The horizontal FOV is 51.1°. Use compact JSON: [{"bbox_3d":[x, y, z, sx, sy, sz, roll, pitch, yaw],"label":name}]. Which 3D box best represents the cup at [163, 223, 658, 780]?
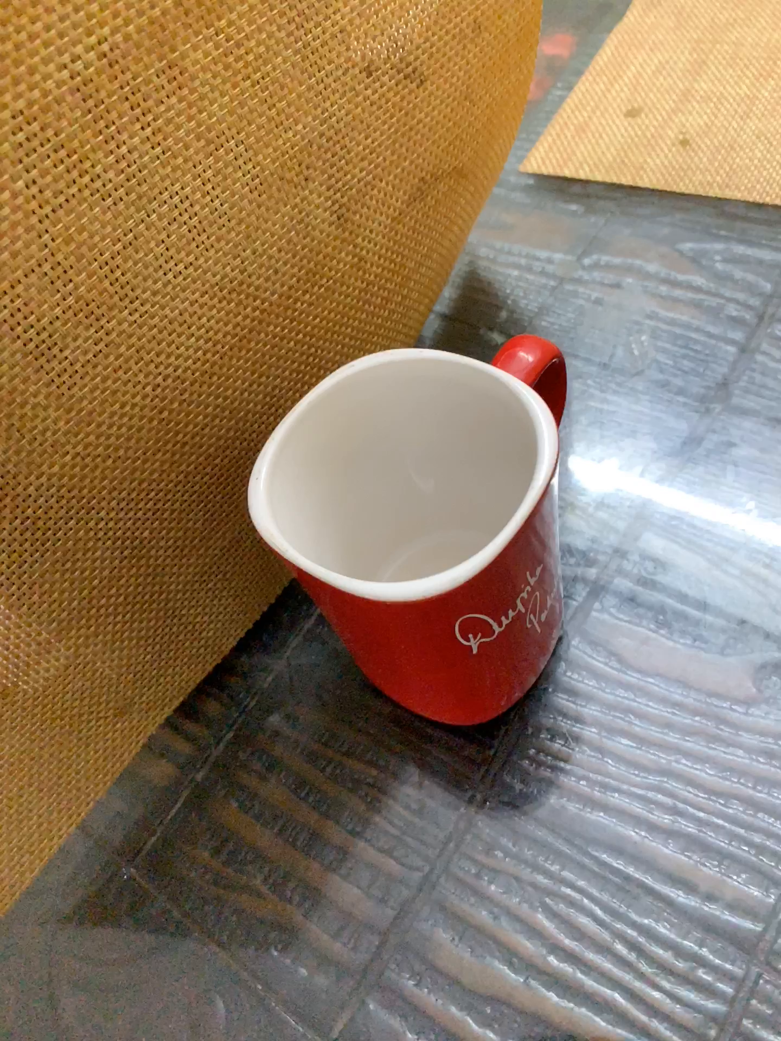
[{"bbox_3d":[0.015,-0.005,0.209,0.070,0.085,0.096,21,65,26],"label":"cup"}]
